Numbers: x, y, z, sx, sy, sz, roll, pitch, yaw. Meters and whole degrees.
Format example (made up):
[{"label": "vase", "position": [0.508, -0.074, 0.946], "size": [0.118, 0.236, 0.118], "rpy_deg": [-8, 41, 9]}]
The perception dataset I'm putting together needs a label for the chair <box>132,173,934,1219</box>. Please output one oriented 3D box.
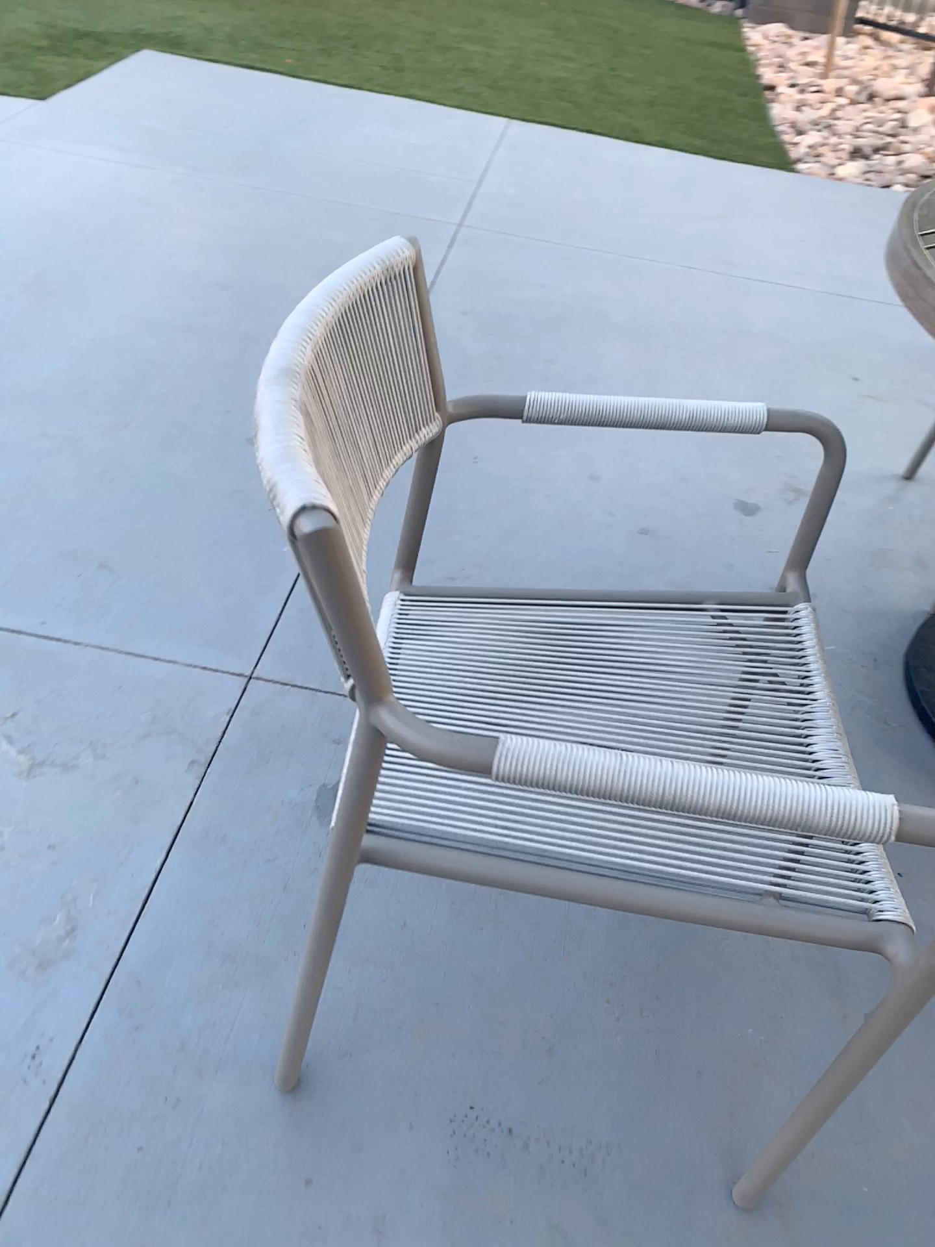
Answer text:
[{"label": "chair", "position": [0.110, 0.081, 0.988], "size": [0.600, 0.766, 0.673], "rpy_deg": [7, 42, -2]}]
